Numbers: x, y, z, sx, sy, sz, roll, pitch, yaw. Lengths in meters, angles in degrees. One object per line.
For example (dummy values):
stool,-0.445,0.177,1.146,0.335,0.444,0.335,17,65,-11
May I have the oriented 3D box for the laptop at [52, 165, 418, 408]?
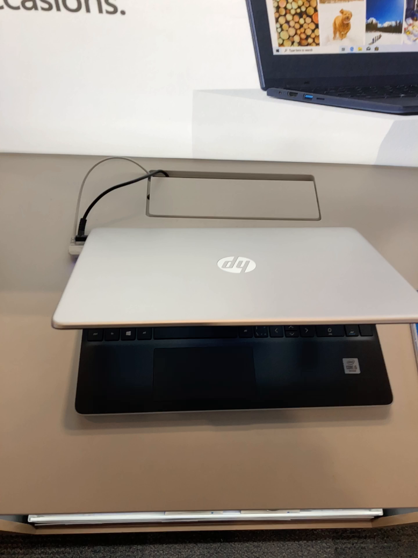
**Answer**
laptop,0.030,0.006,0.511,0.345,0.132,0.230,-1,60,-4
